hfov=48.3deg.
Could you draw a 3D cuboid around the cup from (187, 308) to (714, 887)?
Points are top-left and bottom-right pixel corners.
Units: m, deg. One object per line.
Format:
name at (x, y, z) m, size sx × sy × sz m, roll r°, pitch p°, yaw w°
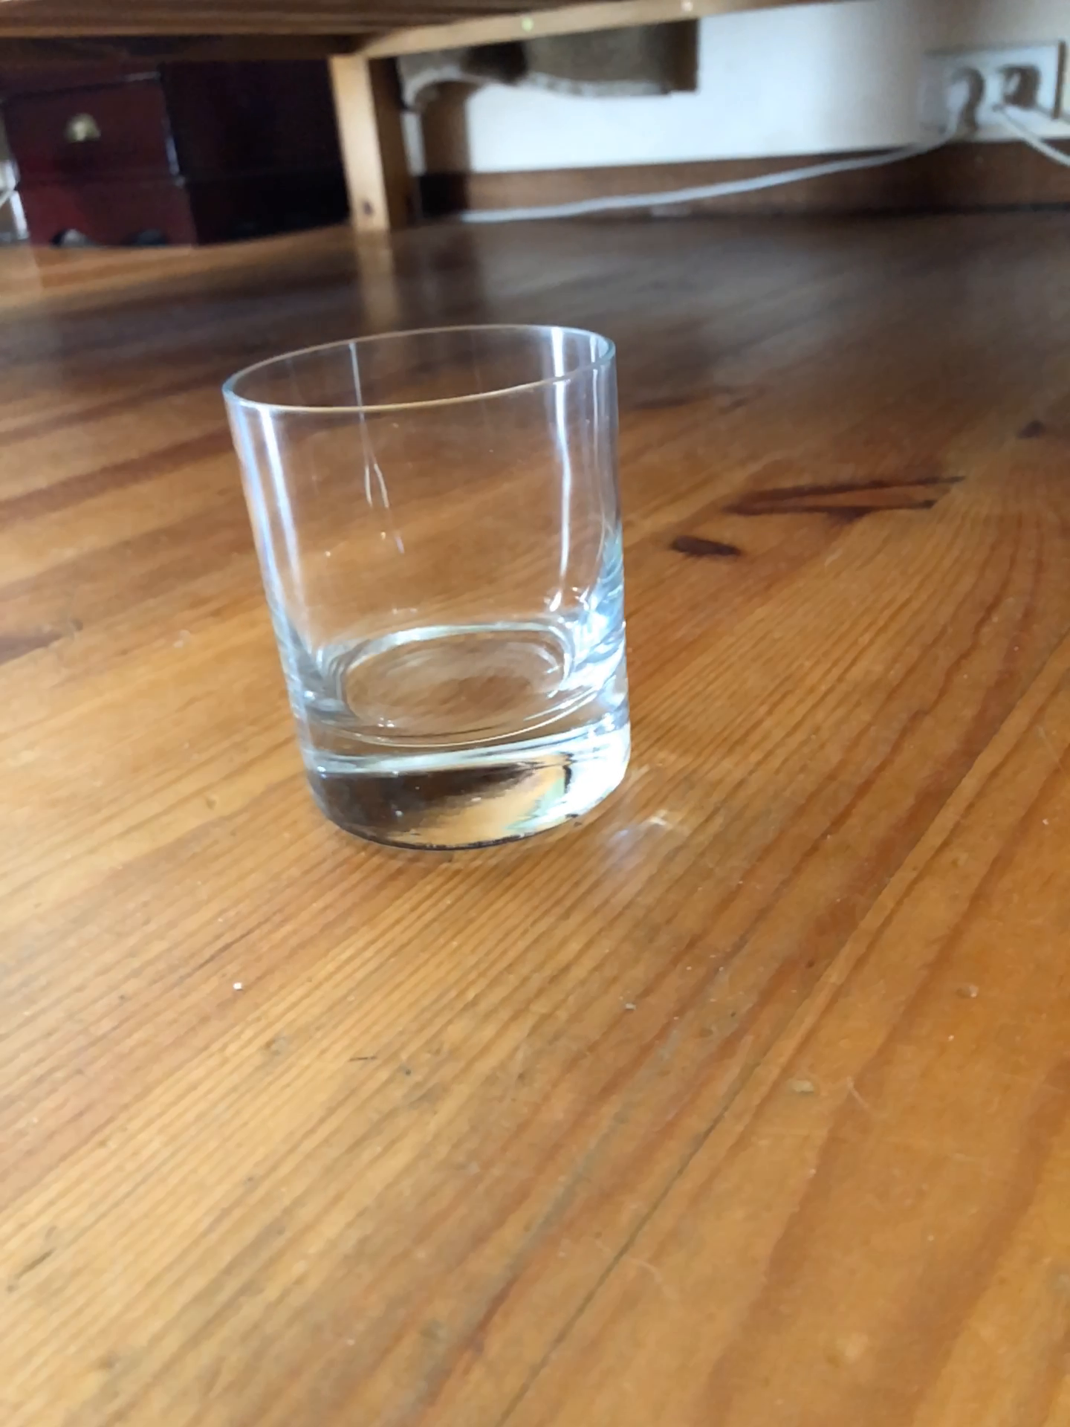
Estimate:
cup at (-0.019, -0.032, 0.261) m, size 0.087 × 0.090 × 0.083 m, roll -4°, pitch 26°, yaw 2°
